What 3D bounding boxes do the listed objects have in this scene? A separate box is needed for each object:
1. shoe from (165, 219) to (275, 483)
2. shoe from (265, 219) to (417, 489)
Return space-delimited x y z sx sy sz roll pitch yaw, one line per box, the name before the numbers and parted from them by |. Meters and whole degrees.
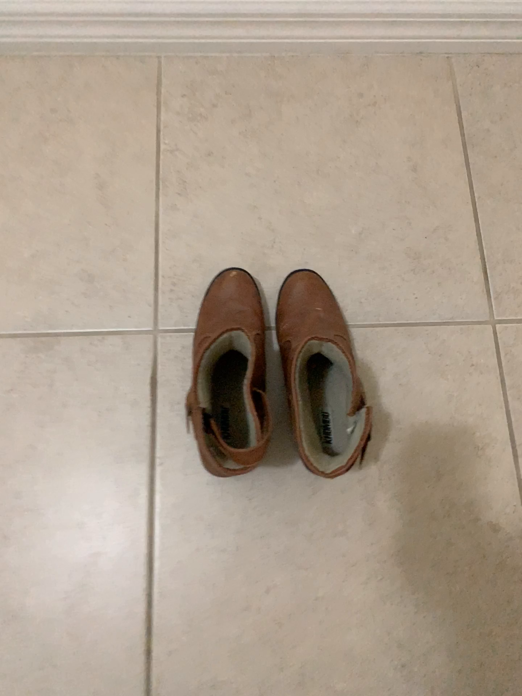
shoe | -0.040 0.017 0.583 0.094 0.193 0.247 -1 74 -2
shoe | 0.073 0.018 0.597 0.107 0.173 0.260 -5 74 -3
